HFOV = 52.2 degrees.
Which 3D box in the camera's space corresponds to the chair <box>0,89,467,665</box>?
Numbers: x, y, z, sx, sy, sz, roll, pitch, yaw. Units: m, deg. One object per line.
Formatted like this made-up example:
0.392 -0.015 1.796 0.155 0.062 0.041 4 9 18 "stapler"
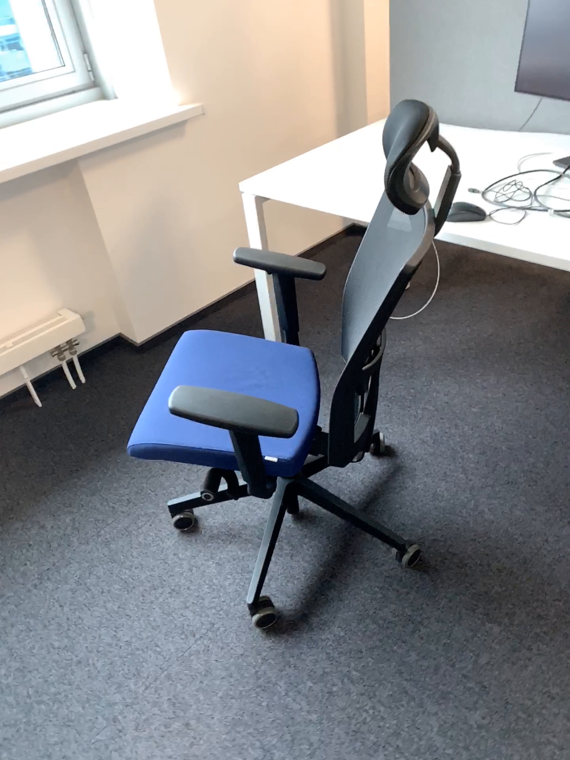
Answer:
-0.014 -0.012 1.423 0.790 1.074 0.754 2 37 14 "chair"
